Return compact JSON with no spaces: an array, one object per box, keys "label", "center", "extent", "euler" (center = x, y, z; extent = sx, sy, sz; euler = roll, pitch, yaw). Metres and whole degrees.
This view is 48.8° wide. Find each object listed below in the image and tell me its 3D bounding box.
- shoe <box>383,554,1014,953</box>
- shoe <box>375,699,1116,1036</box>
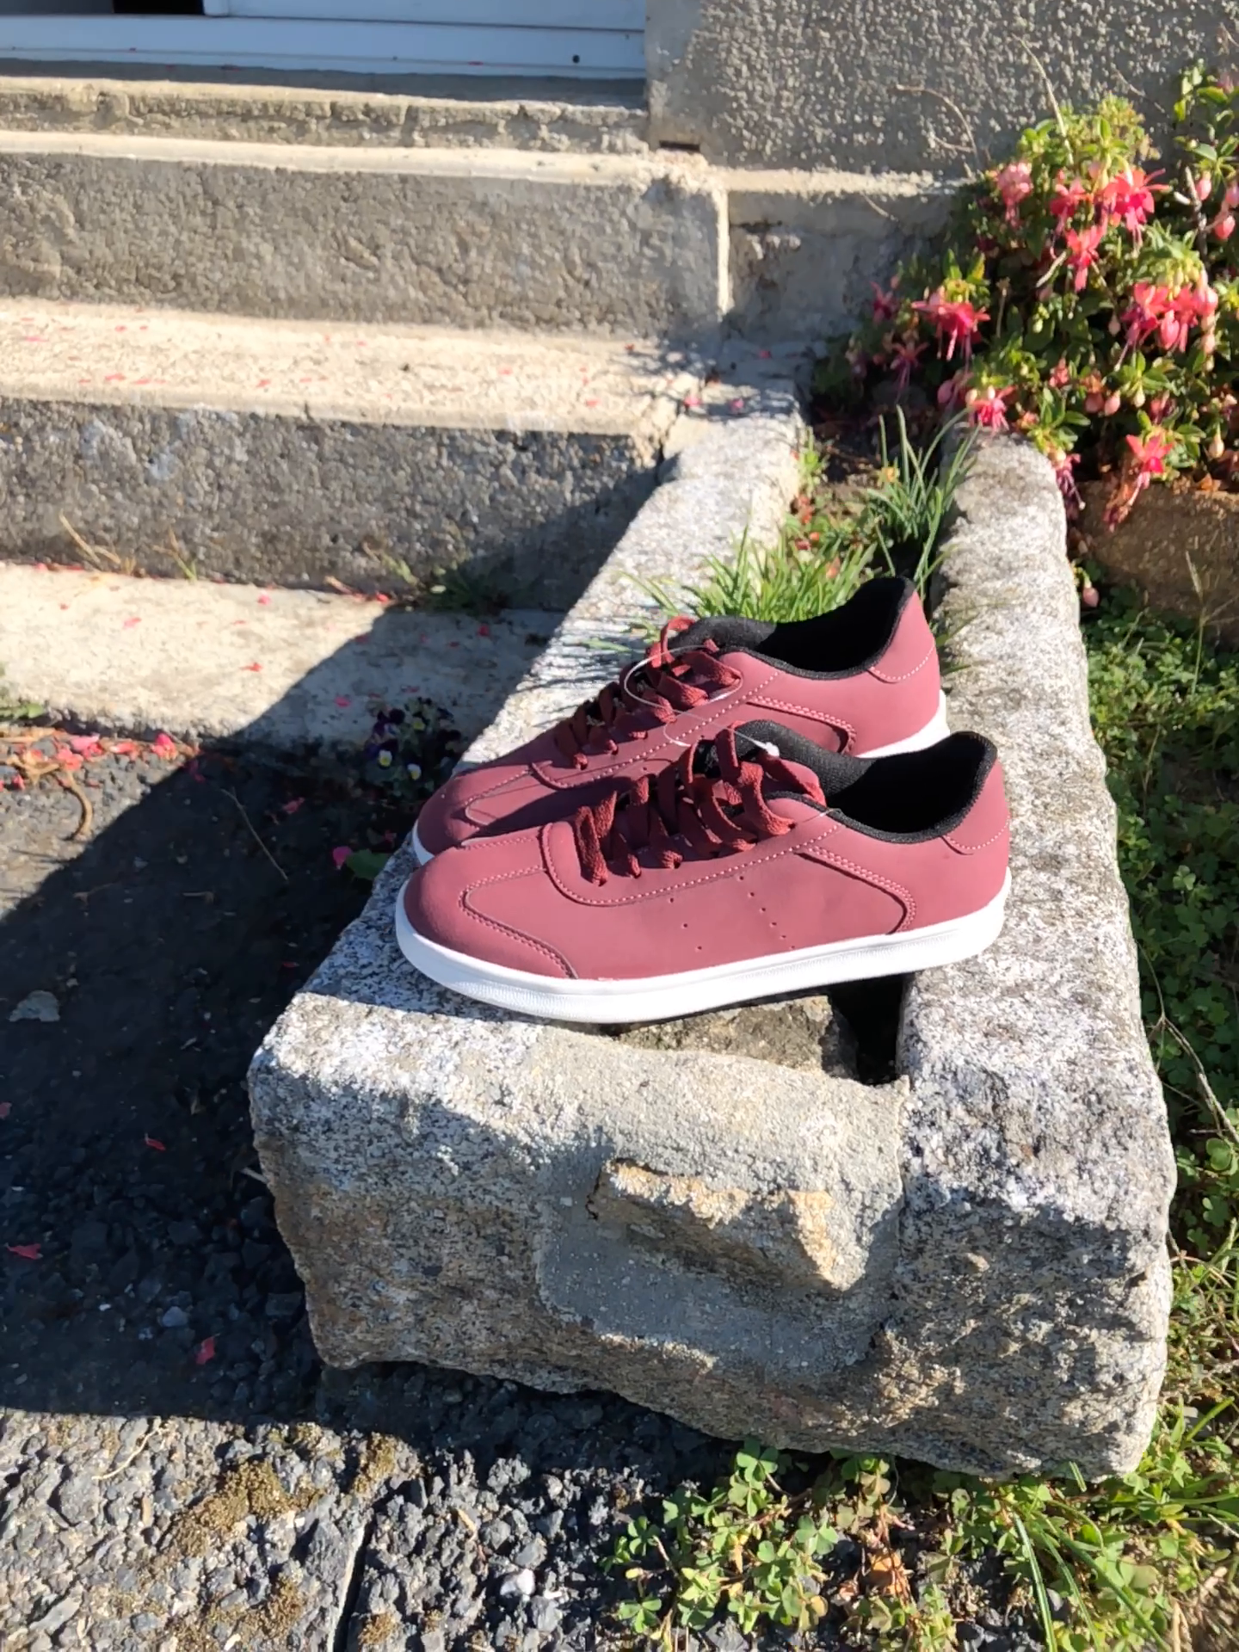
[{"label":"shoe","center":[0.033,-0.037,0.619],"extent":[0.260,0.080,0.100],"euler":[-15,33,-4]},{"label":"shoe","center":[0.042,0.012,0.536],"extent":[0.260,0.080,0.101],"euler":[-2,31,-5]}]
